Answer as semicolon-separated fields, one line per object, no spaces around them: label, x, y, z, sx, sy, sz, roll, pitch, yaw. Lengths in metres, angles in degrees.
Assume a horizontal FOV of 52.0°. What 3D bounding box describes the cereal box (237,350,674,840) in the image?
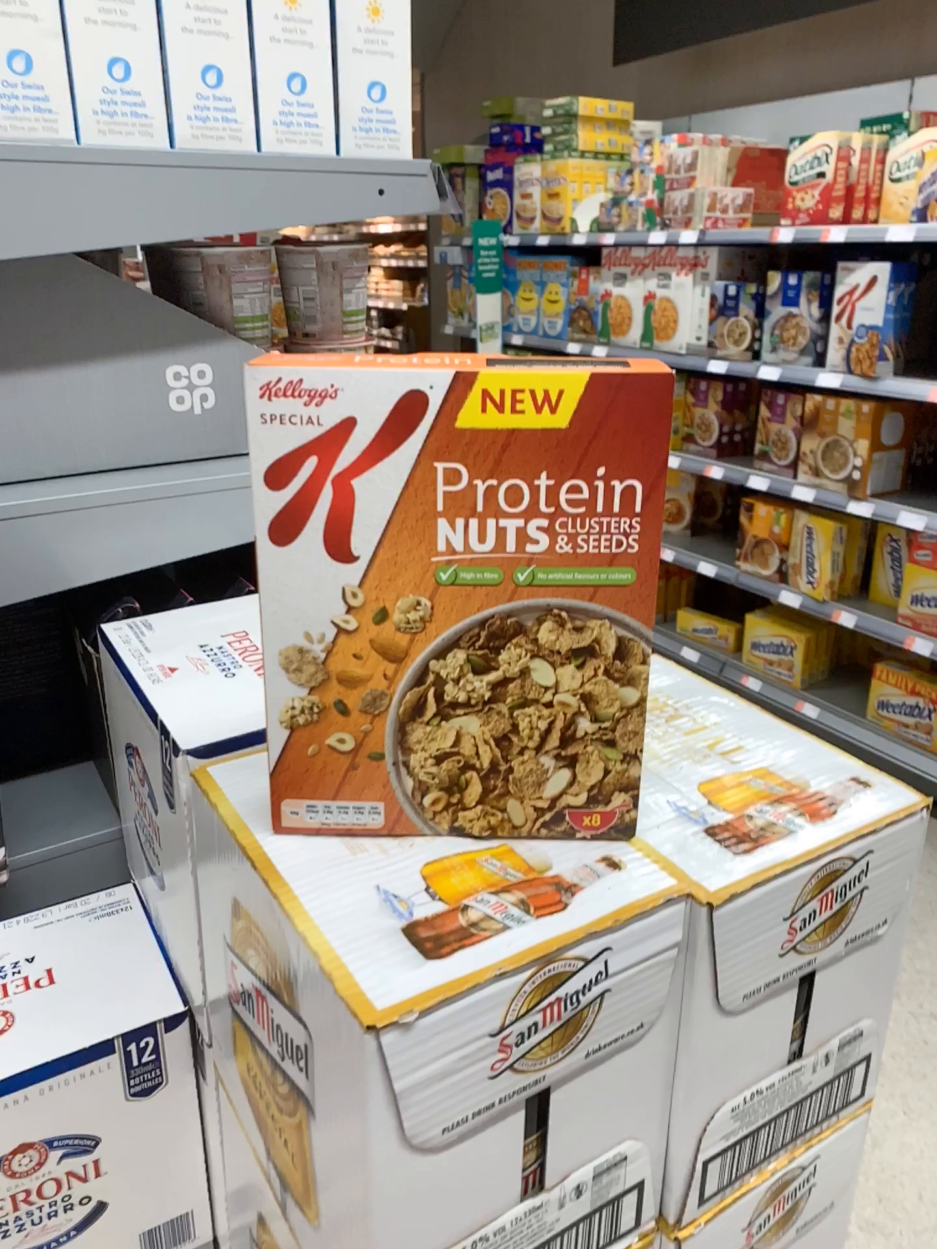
cereal box;-0.006;-0.011;0.482;0.190;0.238;0.050;1;20;2
